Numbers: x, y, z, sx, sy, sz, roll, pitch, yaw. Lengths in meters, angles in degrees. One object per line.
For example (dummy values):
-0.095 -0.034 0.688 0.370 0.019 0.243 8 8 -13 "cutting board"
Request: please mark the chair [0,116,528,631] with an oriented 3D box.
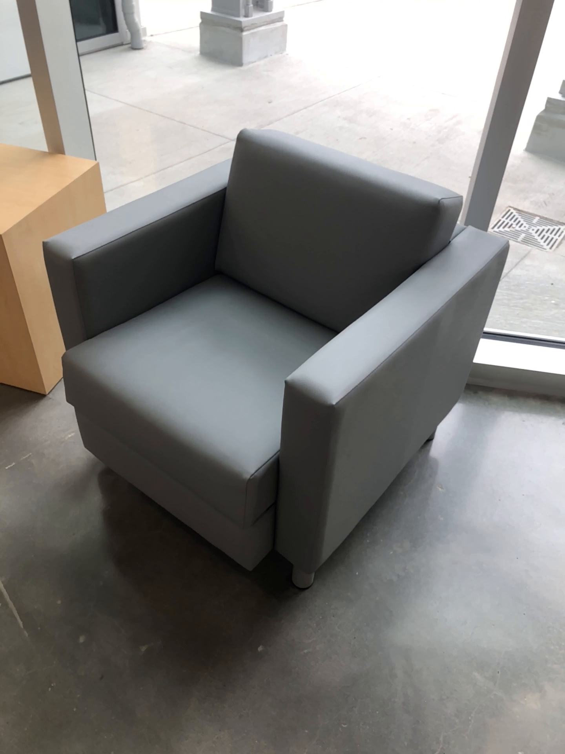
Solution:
-0.025 -0.080 1.503 0.772 0.695 0.783 29 48 26 "chair"
